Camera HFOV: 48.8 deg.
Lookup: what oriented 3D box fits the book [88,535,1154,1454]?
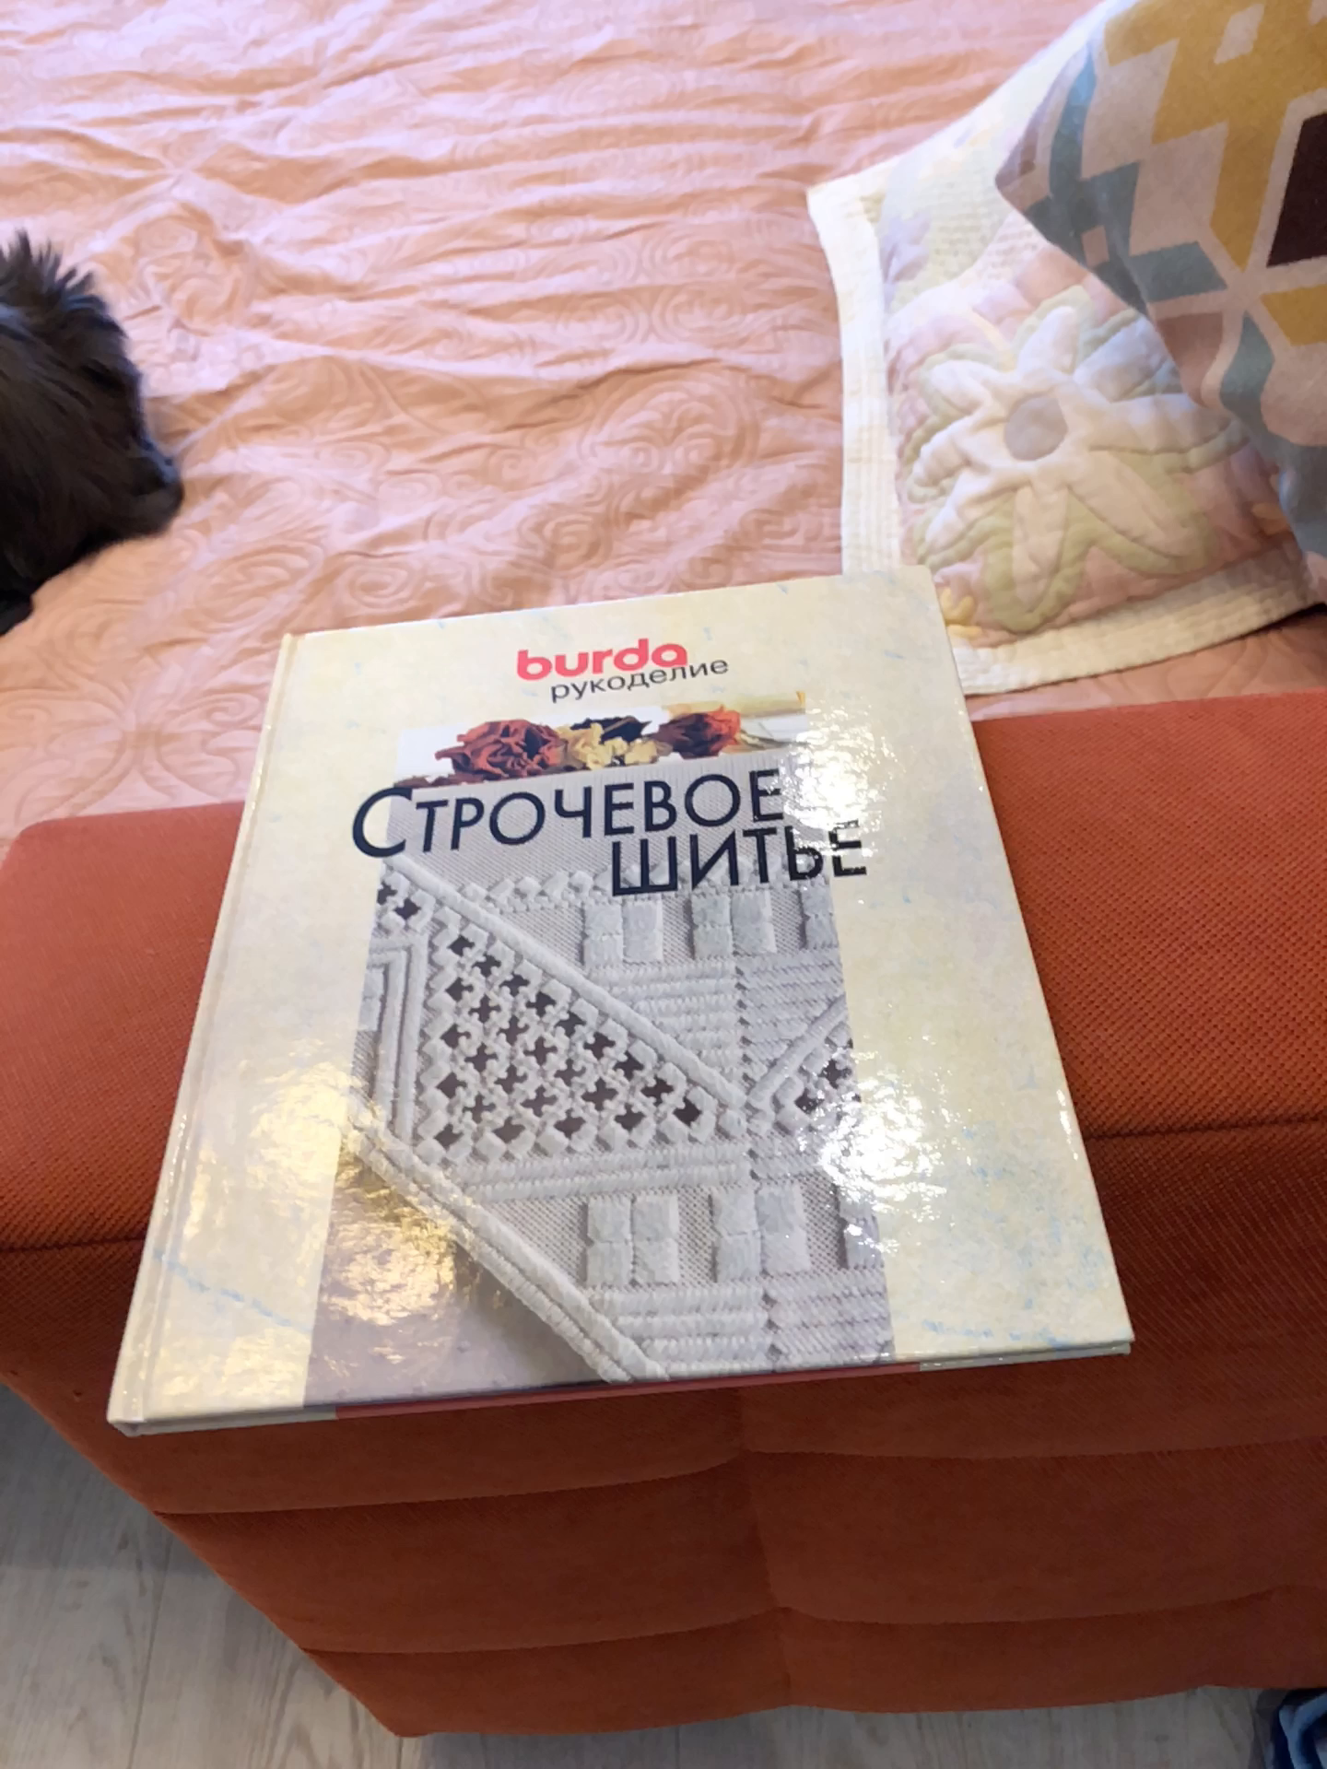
[{"bbox_3d":[-0.014,0.007,0.384,0.215,0.020,0.260,-6,49,4],"label":"book"}]
